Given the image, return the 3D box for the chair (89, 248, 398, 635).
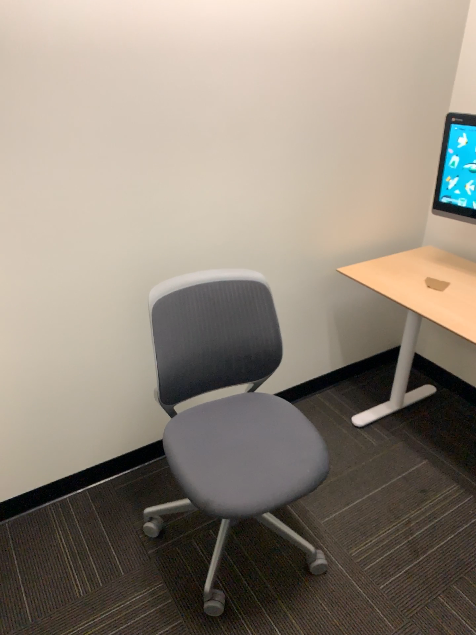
[{"bbox_3d":[-0.065,0.359,1.820,0.720,0.885,0.905,-11,31,-20],"label":"chair"}]
